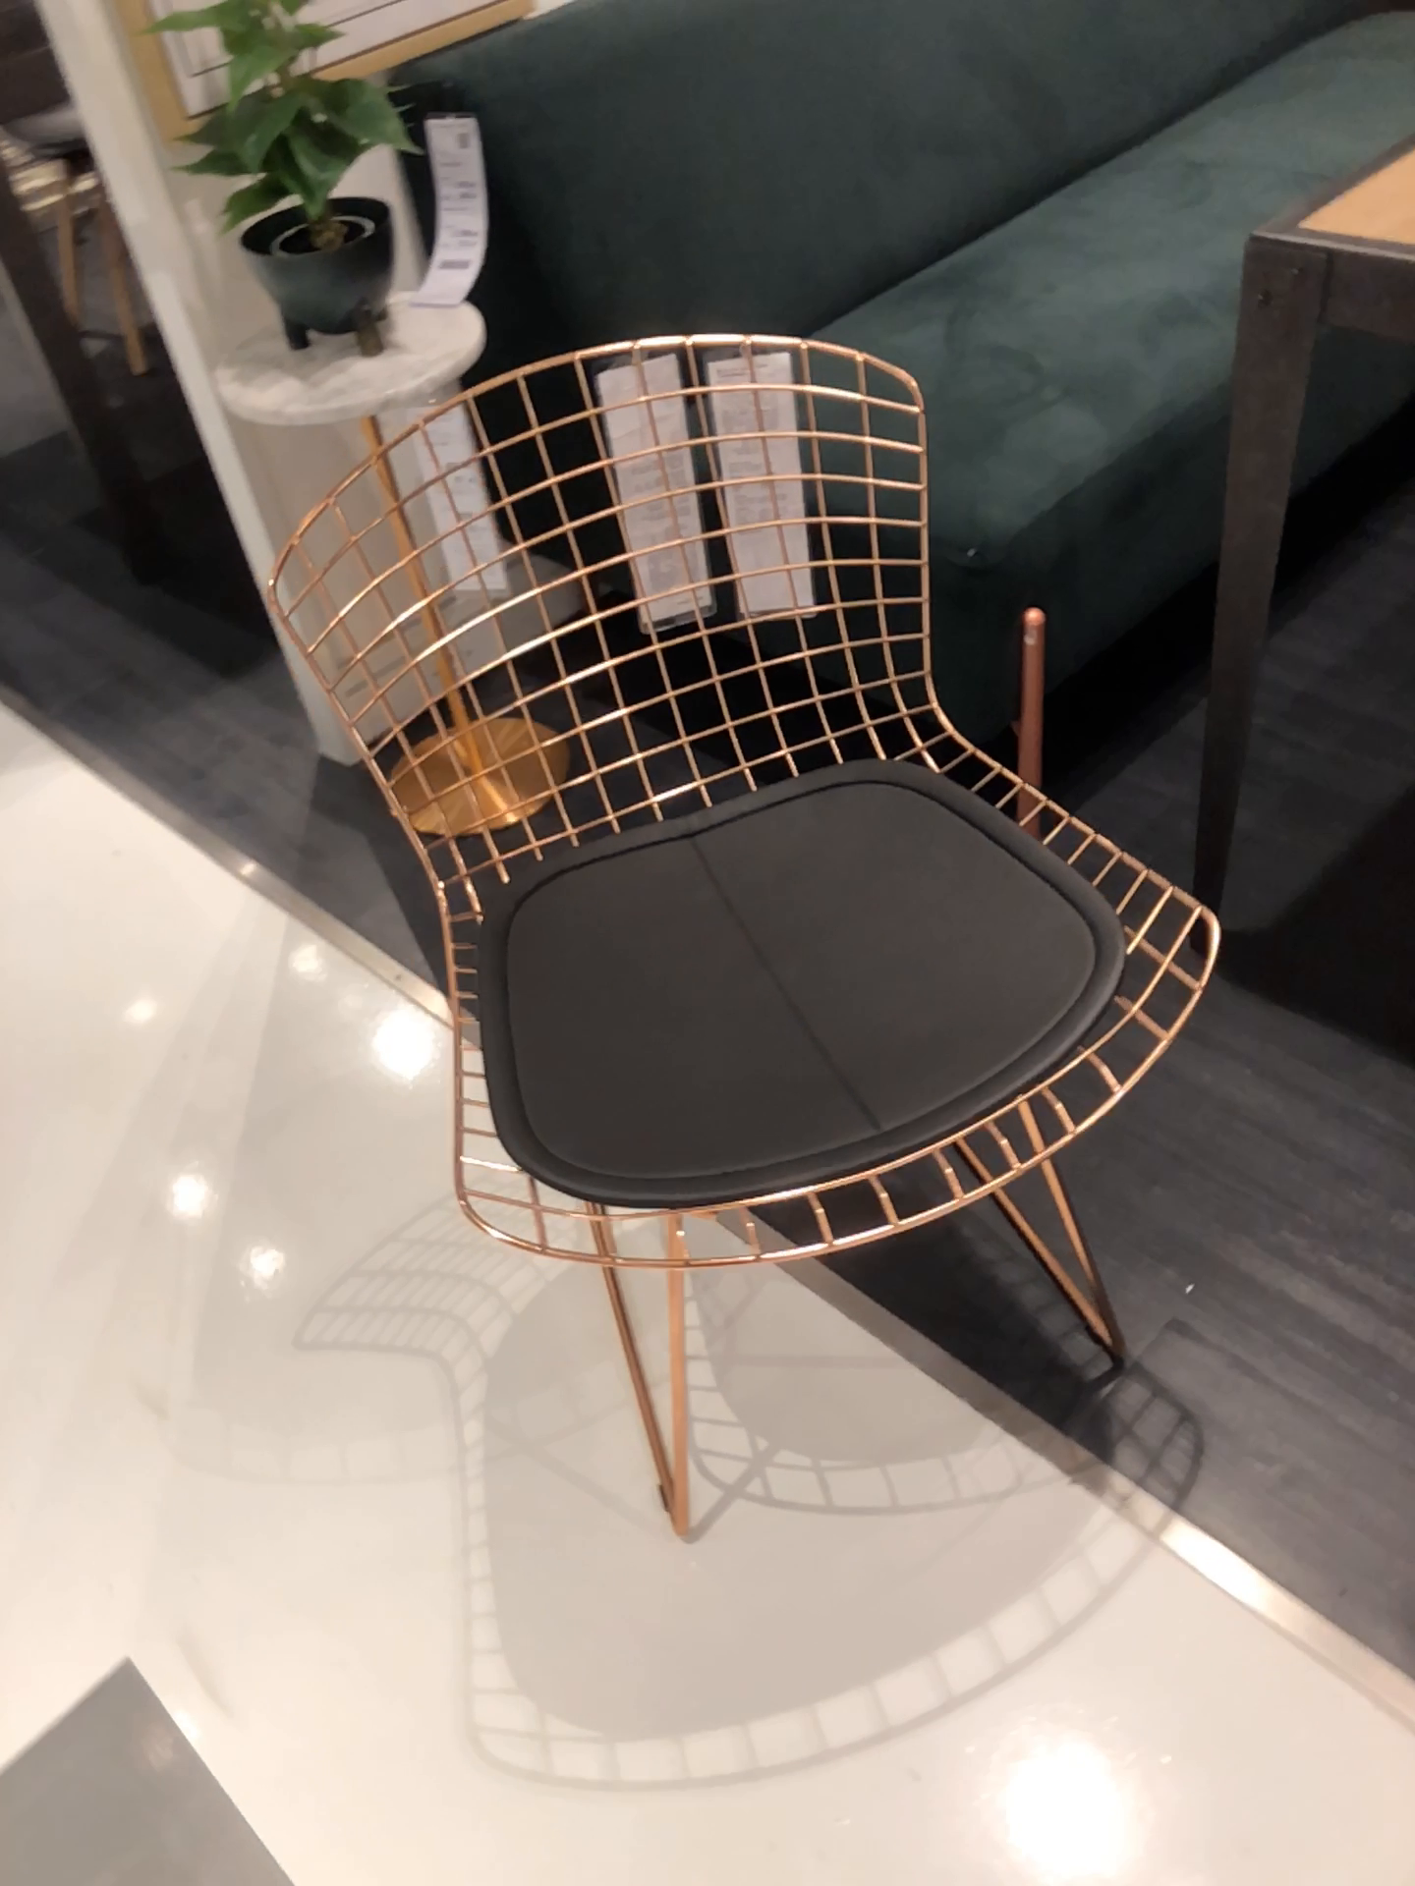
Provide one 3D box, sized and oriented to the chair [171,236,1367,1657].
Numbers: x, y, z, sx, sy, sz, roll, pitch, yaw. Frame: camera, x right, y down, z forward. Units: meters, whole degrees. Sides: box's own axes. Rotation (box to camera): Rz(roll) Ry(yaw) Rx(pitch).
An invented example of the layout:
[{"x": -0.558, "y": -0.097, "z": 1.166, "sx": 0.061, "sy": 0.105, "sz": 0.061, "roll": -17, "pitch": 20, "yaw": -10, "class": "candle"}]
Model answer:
[{"x": 0.030, "y": 0.007, "z": 1.142, "sx": 0.520, "sy": 0.745, "sz": 0.544, "roll": -20, "pitch": 43, "yaw": -10, "class": "chair"}]
